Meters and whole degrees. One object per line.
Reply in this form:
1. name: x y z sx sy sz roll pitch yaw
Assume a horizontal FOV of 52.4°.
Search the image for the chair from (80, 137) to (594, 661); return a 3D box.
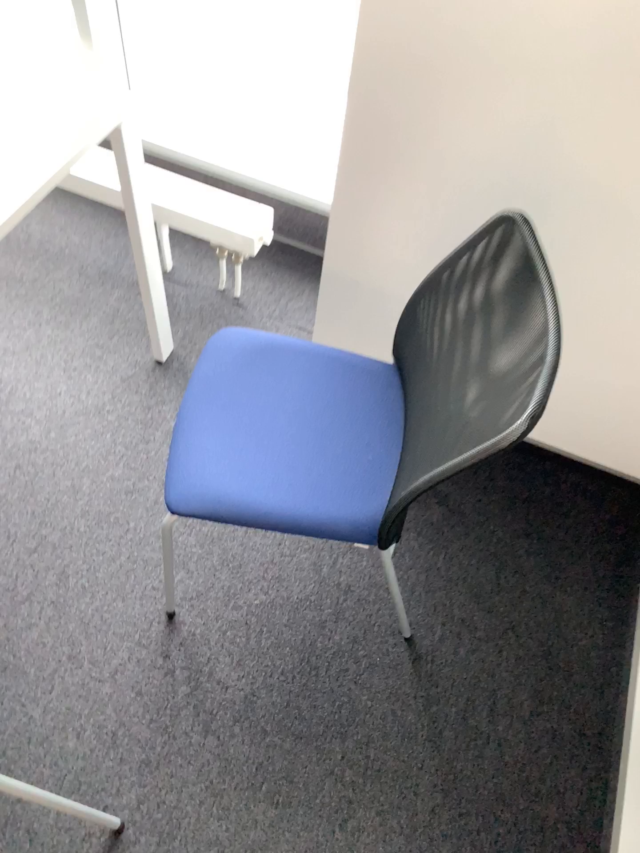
1. chair: -0.004 0.046 1.260 0.590 0.897 0.532 7 57 -3
